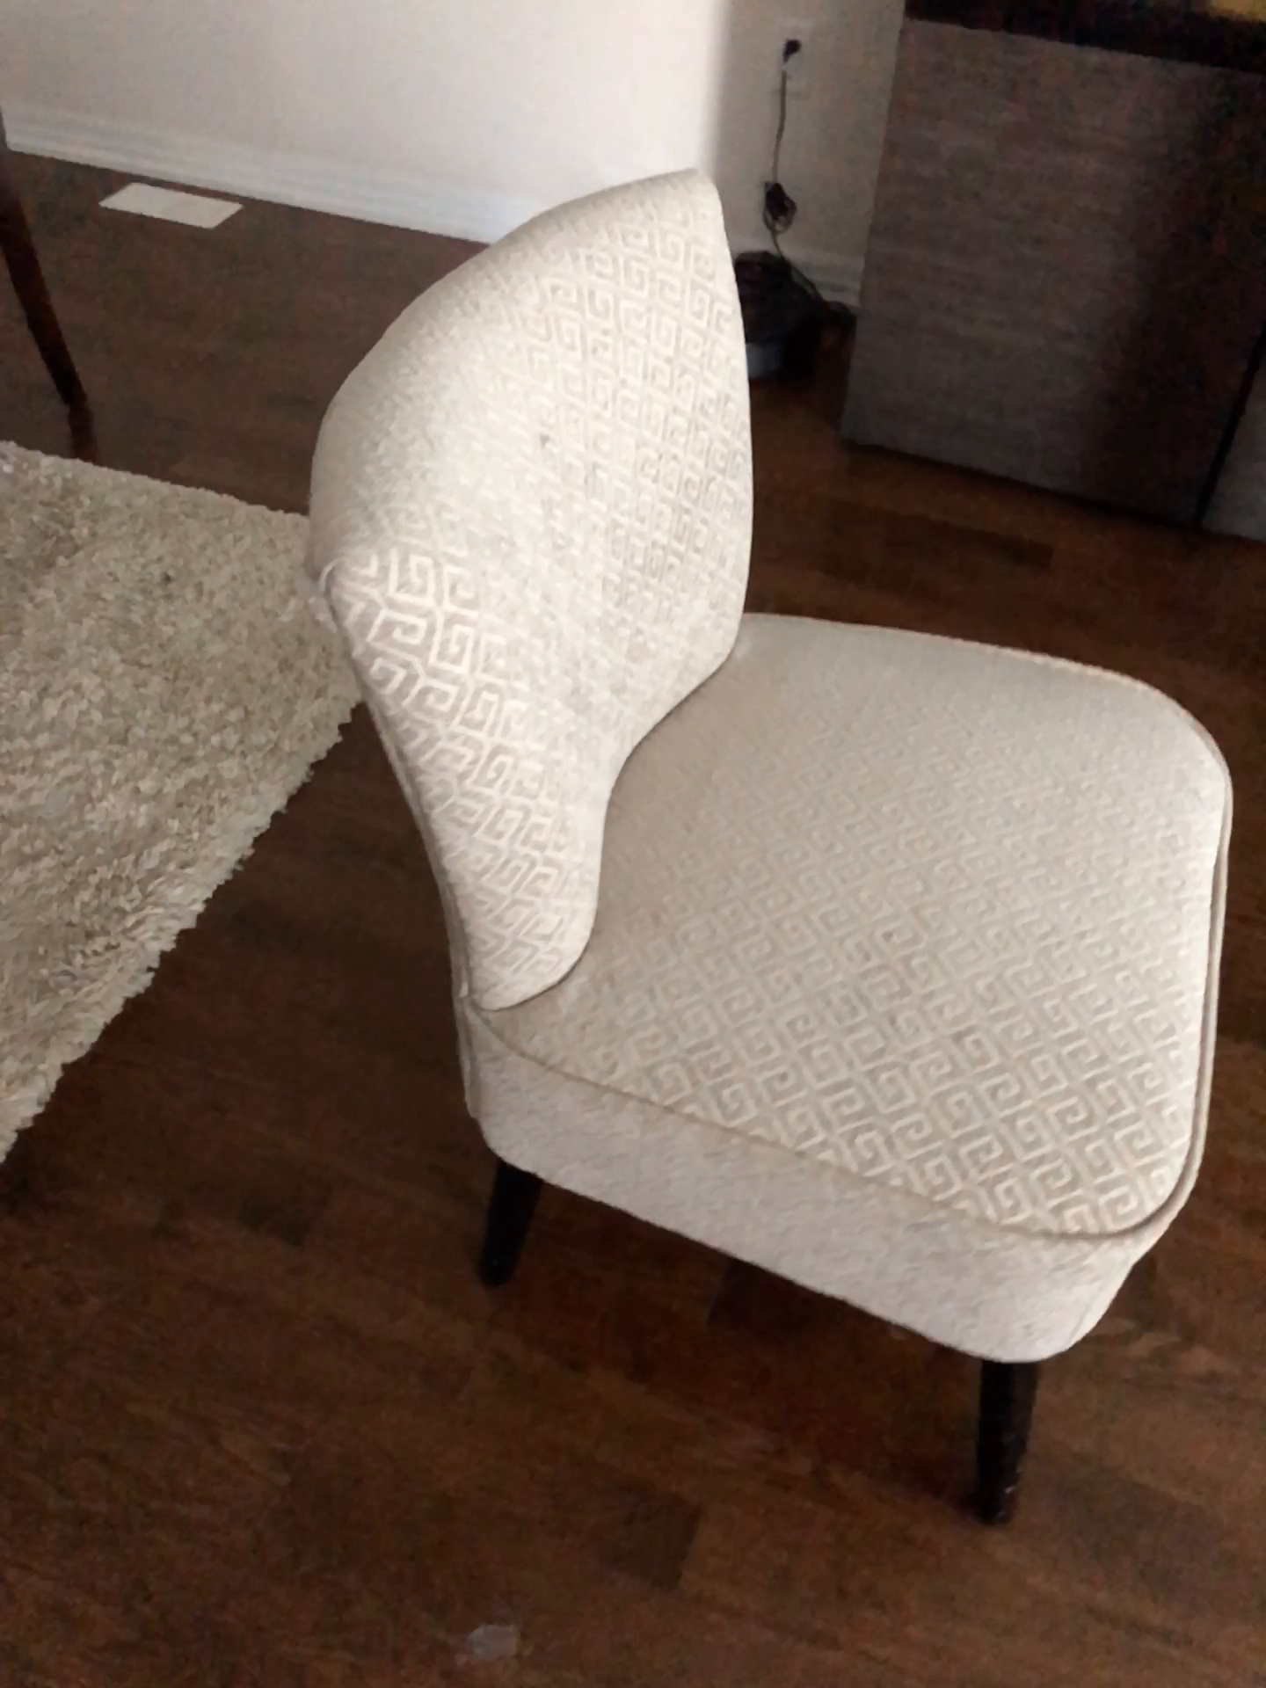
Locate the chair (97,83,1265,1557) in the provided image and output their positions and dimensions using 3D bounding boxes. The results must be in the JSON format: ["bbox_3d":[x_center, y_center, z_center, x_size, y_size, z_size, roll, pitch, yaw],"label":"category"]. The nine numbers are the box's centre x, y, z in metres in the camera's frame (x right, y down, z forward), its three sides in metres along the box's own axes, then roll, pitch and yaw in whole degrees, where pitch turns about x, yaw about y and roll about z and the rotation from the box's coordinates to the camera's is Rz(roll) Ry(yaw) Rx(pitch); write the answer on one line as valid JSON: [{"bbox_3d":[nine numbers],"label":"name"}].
[{"bbox_3d":[0.139,-0.011,1.061,0.640,0.797,0.602,15,46,12],"label":"chair"}]
